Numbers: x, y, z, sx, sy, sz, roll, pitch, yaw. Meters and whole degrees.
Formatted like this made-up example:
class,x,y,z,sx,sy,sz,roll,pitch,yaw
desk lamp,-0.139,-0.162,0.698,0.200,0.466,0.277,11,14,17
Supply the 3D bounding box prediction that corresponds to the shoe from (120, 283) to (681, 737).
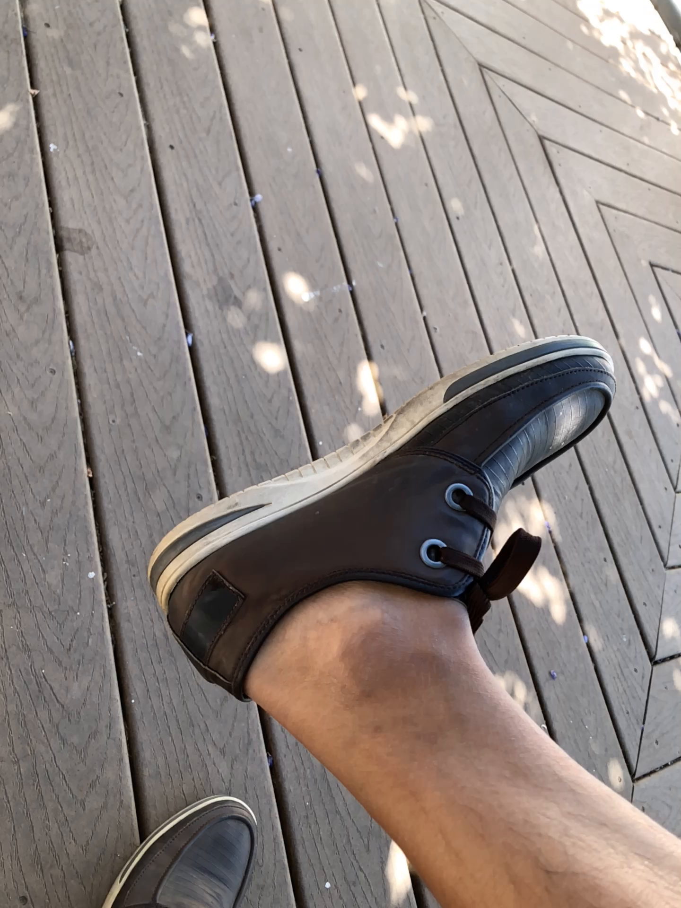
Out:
class,x,y,z,sx,sy,sz,roll,pitch,yaw
shoe,0.042,0.032,0.403,0.276,0.102,0.092,-27,59,-5
